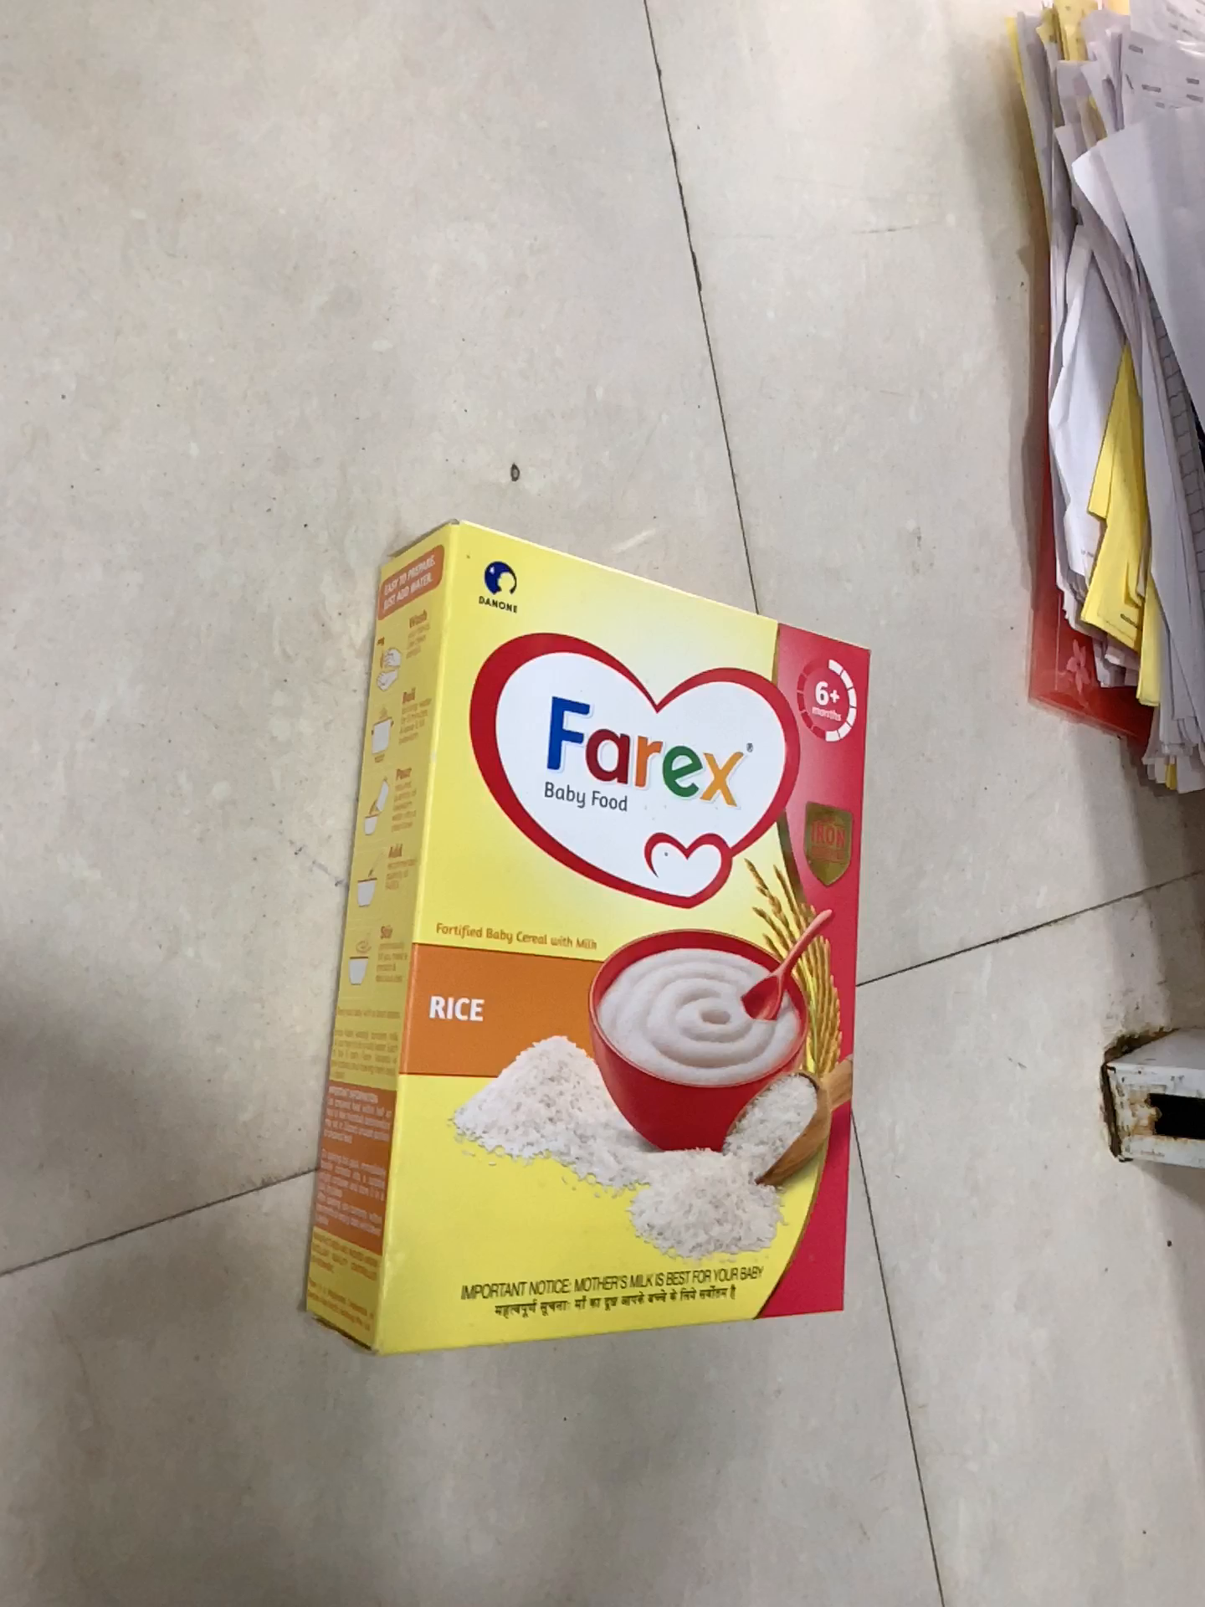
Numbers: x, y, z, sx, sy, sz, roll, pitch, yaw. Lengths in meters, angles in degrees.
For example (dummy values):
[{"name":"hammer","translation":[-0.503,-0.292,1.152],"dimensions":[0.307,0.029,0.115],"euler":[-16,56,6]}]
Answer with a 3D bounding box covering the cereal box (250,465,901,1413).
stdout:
[{"name":"cereal box","translation":[0.003,0.038,0.343],"dimensions":[0.161,0.060,0.210],"euler":[10,78,-33]}]
